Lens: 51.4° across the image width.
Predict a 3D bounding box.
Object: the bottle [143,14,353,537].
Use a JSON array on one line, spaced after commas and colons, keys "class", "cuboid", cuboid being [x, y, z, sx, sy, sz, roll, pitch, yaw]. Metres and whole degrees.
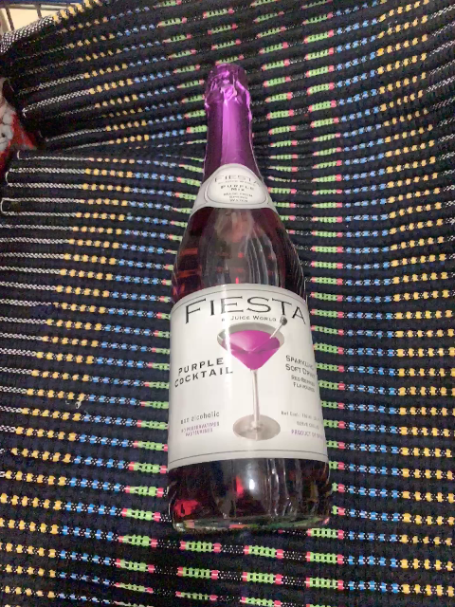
[{"class": "bottle", "cuboid": [0.004, -0.042, 0.295, 0.080, 0.080, 0.331, -3, 61, 2]}]
